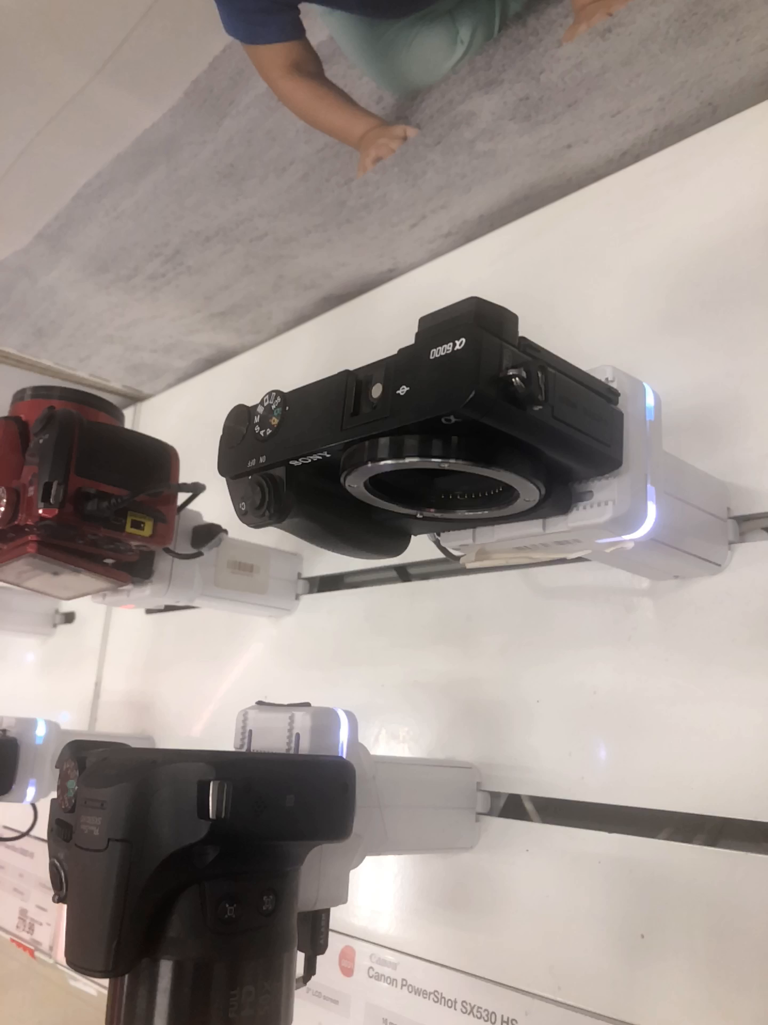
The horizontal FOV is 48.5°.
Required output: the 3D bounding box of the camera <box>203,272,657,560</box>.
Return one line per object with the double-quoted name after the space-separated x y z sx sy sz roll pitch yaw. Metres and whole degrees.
0.010 -0.020 0.261 0.121 0.070 0.040 -12 65 45 "camera"
